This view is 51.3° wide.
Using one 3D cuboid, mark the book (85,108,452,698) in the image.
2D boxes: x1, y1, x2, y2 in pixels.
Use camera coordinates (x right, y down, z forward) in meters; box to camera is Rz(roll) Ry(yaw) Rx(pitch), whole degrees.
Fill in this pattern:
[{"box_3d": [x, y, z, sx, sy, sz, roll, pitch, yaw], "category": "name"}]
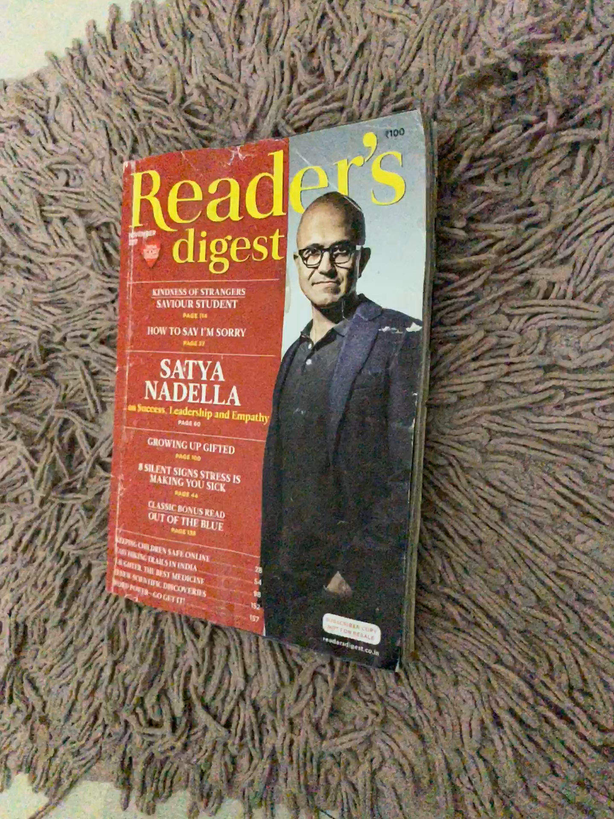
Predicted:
[{"box_3d": [-0.021, -0.005, 0.233, 0.130, 0.020, 0.180, 4, 92, 27], "category": "book"}]
